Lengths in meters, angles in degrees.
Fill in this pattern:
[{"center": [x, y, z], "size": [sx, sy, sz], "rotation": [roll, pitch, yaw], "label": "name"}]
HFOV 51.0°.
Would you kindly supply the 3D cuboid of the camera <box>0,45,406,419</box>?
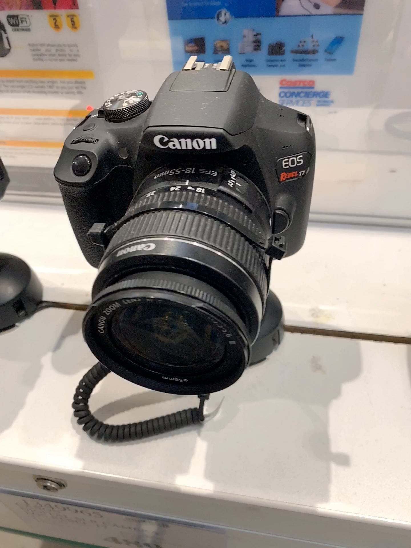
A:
[{"center": [-0.004, -0.031, 0.191], "size": [0.130, 0.089, 0.141], "rotation": [5, 44, 9], "label": "camera"}]
